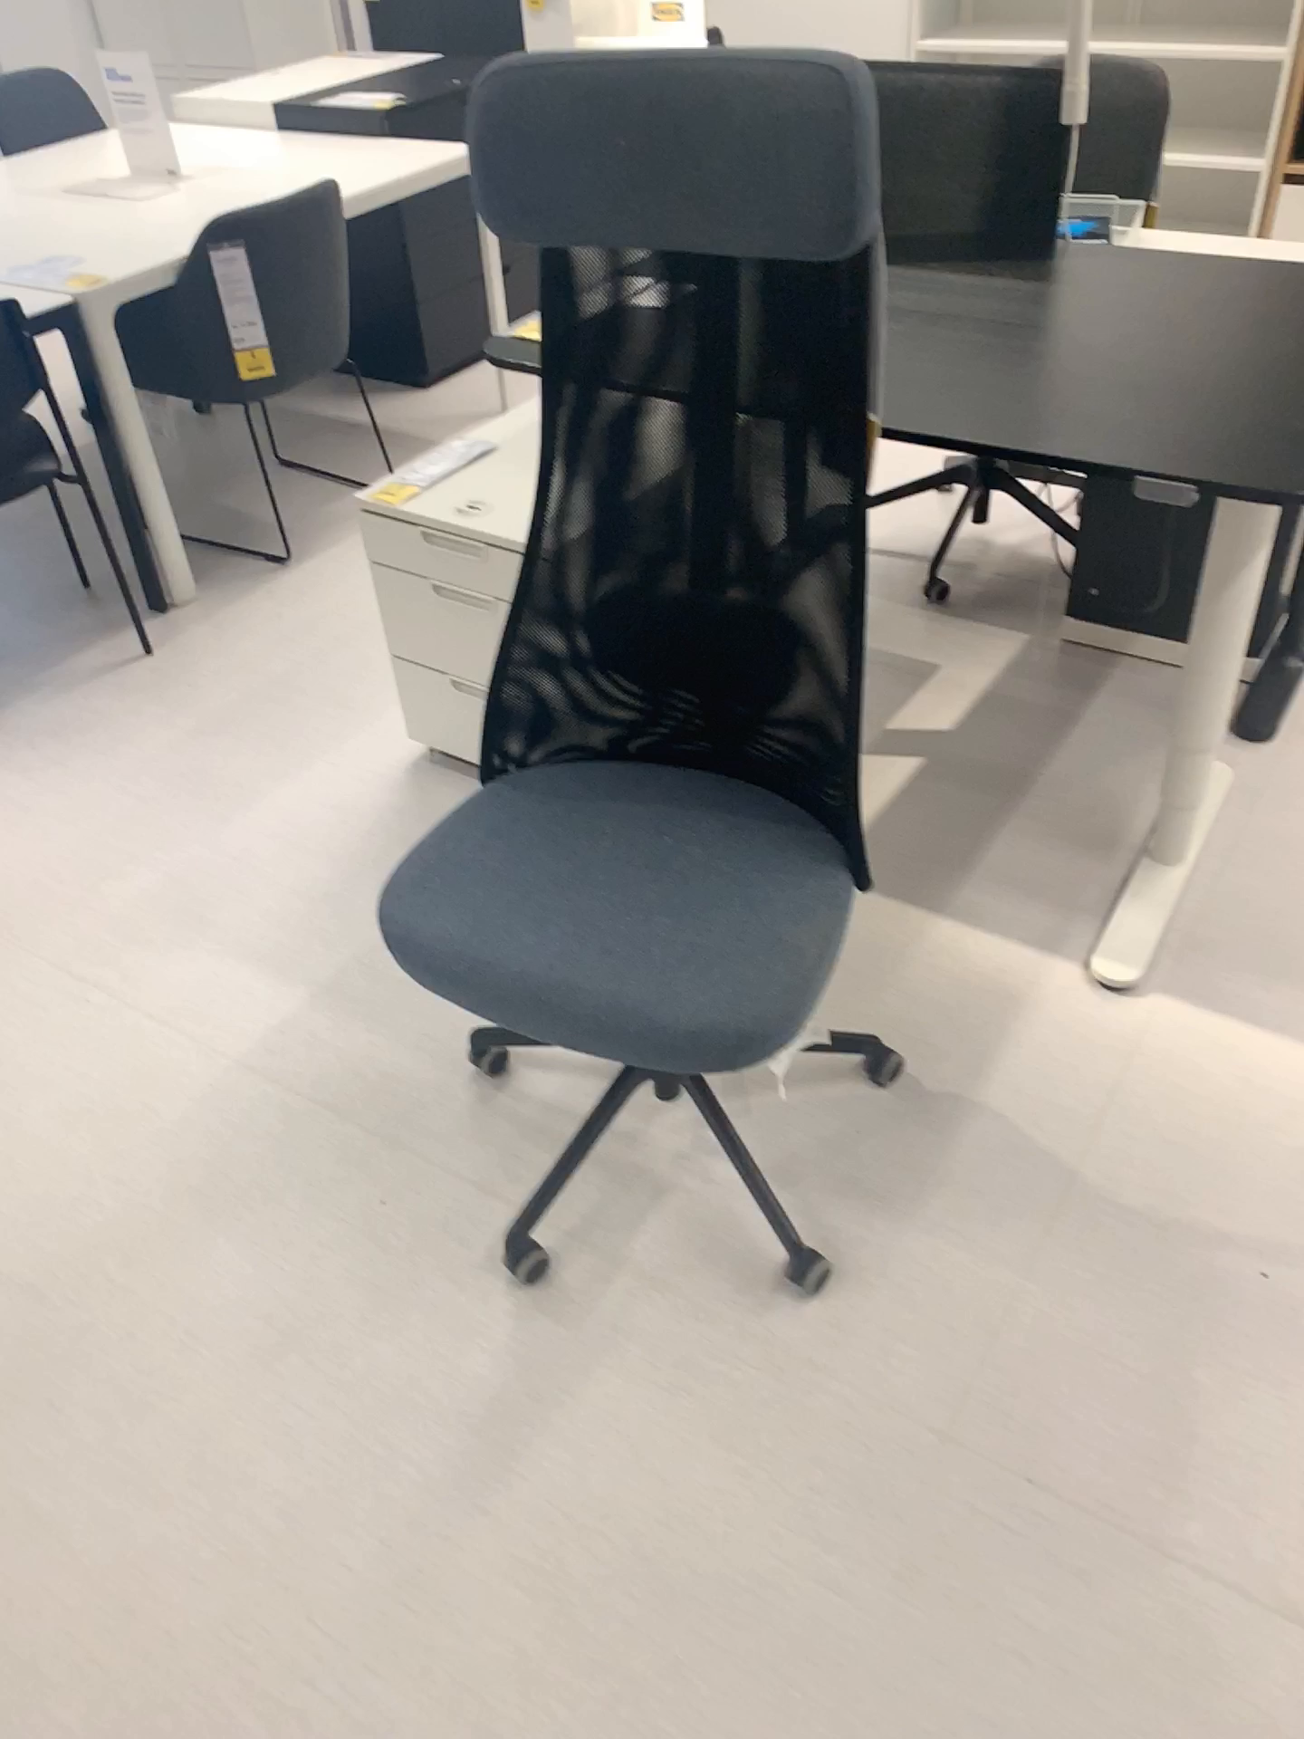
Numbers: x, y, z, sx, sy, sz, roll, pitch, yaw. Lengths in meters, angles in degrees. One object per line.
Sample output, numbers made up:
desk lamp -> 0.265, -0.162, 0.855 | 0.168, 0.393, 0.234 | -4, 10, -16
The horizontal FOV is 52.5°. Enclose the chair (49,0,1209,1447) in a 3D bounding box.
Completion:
chair -> 0.069, -0.154, 1.454 | 0.641, 1.304, 0.732 | 17, 43, 25
